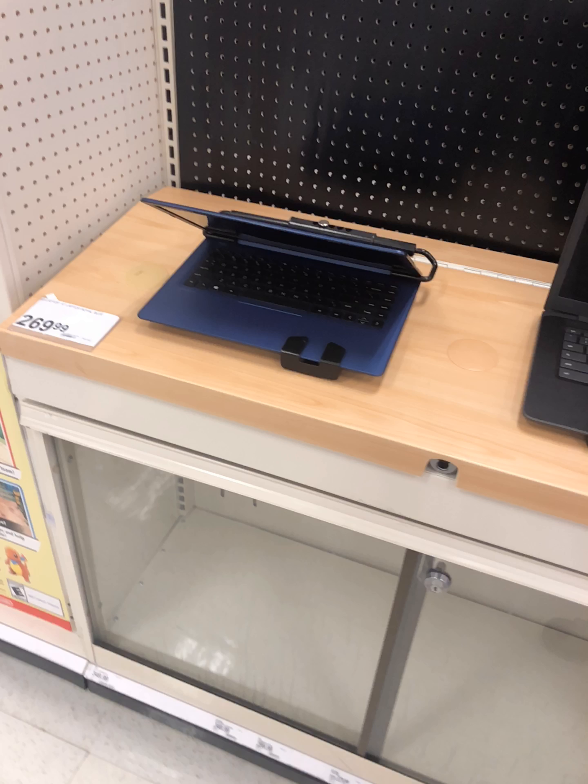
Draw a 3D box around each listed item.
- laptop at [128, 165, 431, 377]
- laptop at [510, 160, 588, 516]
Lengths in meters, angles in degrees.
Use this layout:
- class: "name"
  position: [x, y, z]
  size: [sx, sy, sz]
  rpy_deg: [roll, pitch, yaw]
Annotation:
- class: "laptop"
  position: [-0.015, -0.167, 0.821]
  size: [0.320, 0.110, 0.202]
  rpy_deg: [15, 44, 15]
- class: "laptop"
  position: [0.448, -0.073, 0.673]
  size: [0.331, 0.206, 0.224]
  rpy_deg: [17, 41, 17]
